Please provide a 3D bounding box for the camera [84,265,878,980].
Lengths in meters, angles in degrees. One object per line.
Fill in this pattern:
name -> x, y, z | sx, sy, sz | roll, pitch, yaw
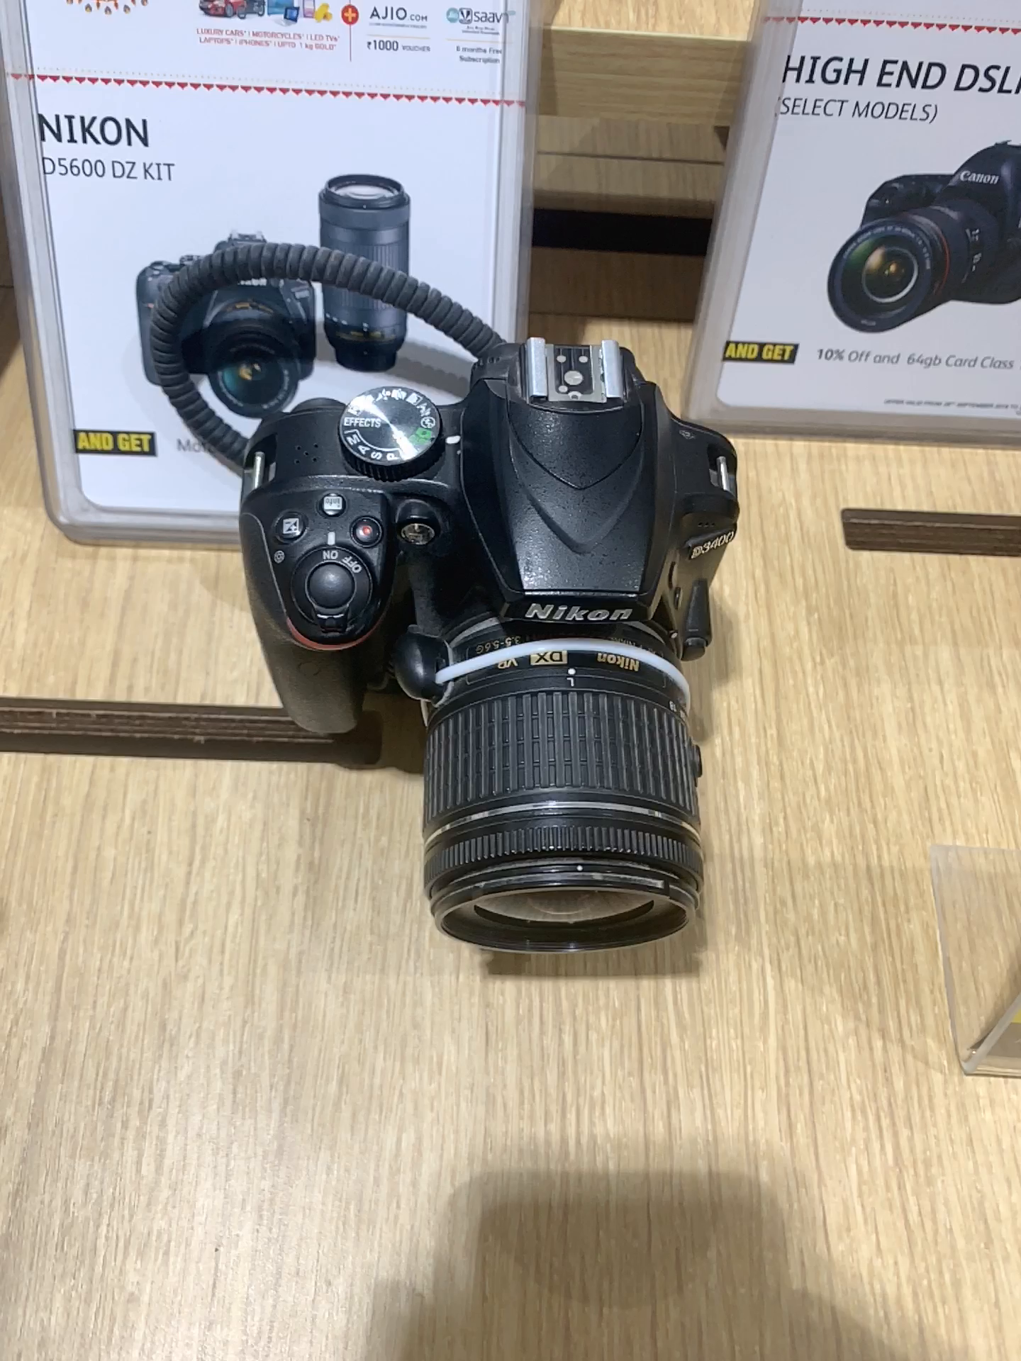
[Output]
camera -> -0.008, -0.009, 0.233 | 0.120, 0.100, 0.120 | -1, 61, -3
